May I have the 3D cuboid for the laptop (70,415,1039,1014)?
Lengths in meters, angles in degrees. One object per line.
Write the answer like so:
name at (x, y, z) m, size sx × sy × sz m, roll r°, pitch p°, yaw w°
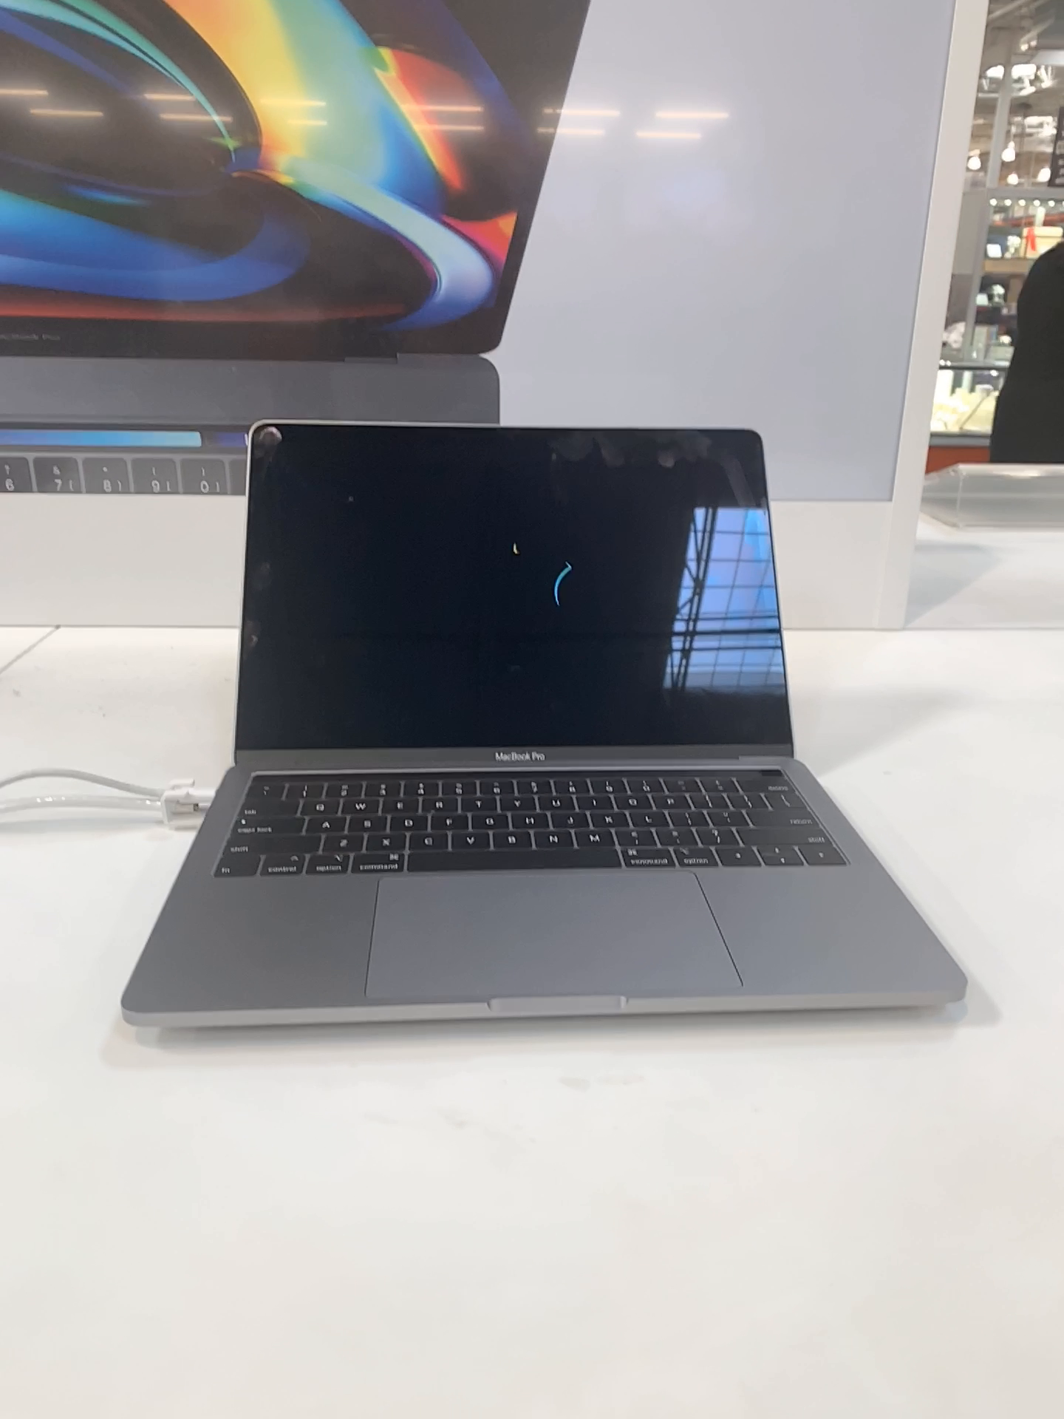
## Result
laptop at (0.000, -0.032, 0.489) m, size 0.284 × 0.150 × 0.316 m, roll 0°, pitch 22°, yaw -4°
